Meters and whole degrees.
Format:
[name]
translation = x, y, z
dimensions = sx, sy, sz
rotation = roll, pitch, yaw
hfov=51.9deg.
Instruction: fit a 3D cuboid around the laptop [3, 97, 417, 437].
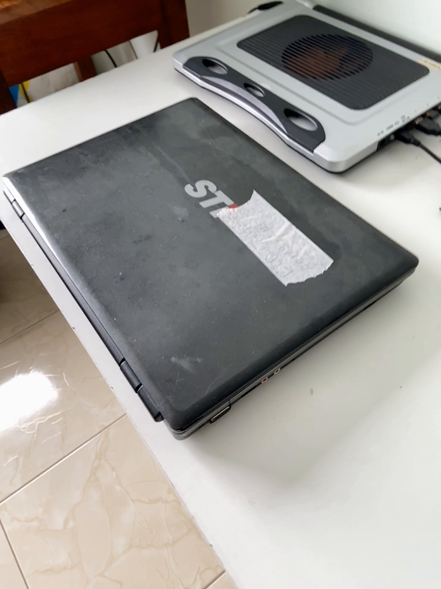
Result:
[laptop]
translation = -0.033, -0.072, 0.420
dimensions = 0.234, 0.006, 0.338
rotation = -31, 56, -18
